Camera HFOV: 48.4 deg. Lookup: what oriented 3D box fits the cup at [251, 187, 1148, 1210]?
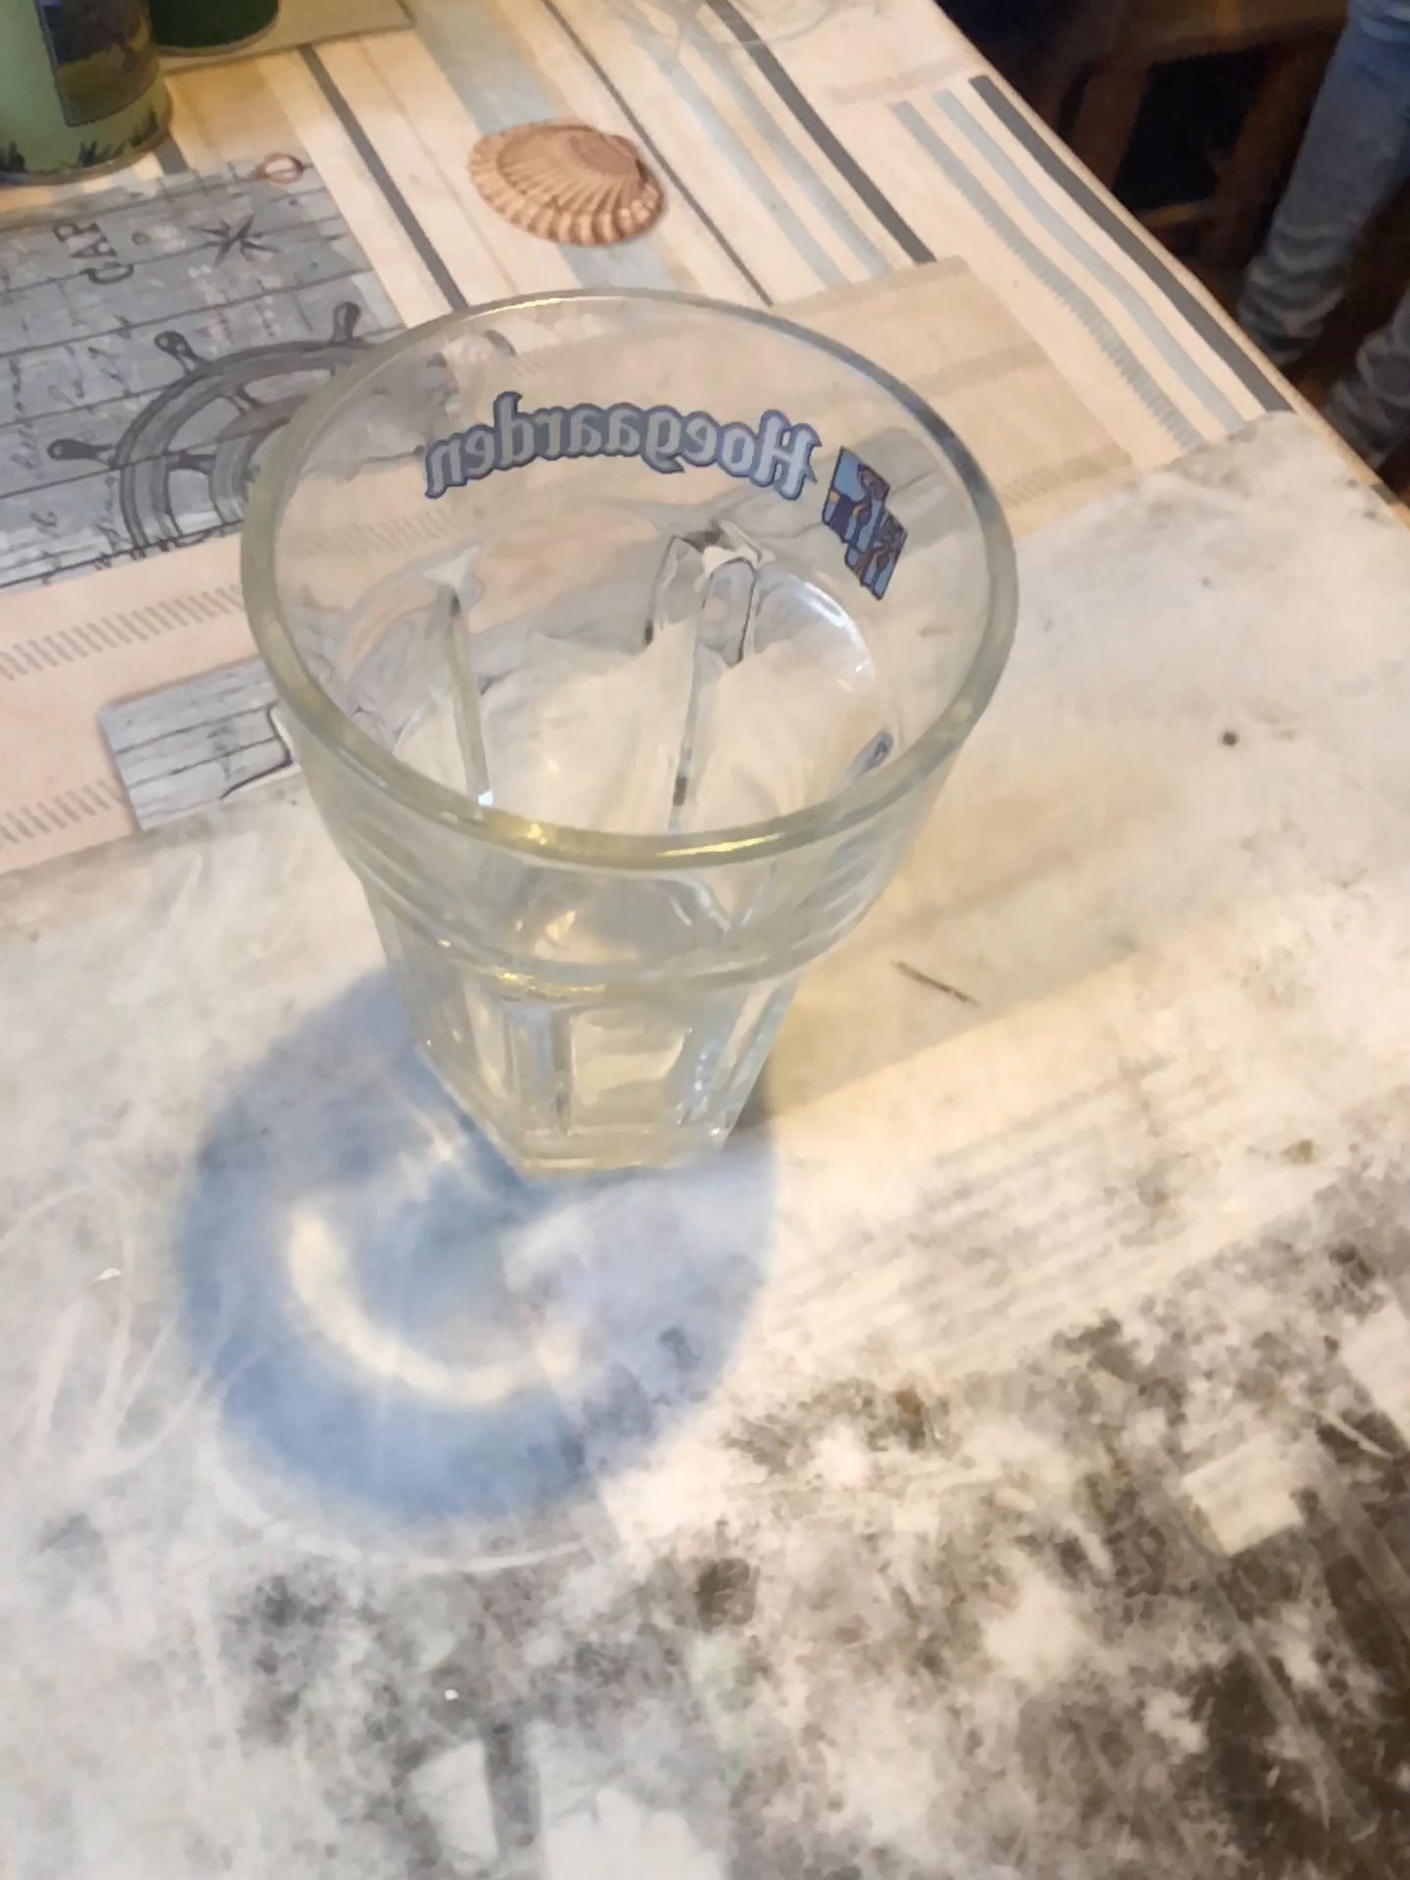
[{"bbox_3d":[-0.009,-0.027,0.248,0.098,0.123,0.099,4,58,-7],"label":"cup"}]
